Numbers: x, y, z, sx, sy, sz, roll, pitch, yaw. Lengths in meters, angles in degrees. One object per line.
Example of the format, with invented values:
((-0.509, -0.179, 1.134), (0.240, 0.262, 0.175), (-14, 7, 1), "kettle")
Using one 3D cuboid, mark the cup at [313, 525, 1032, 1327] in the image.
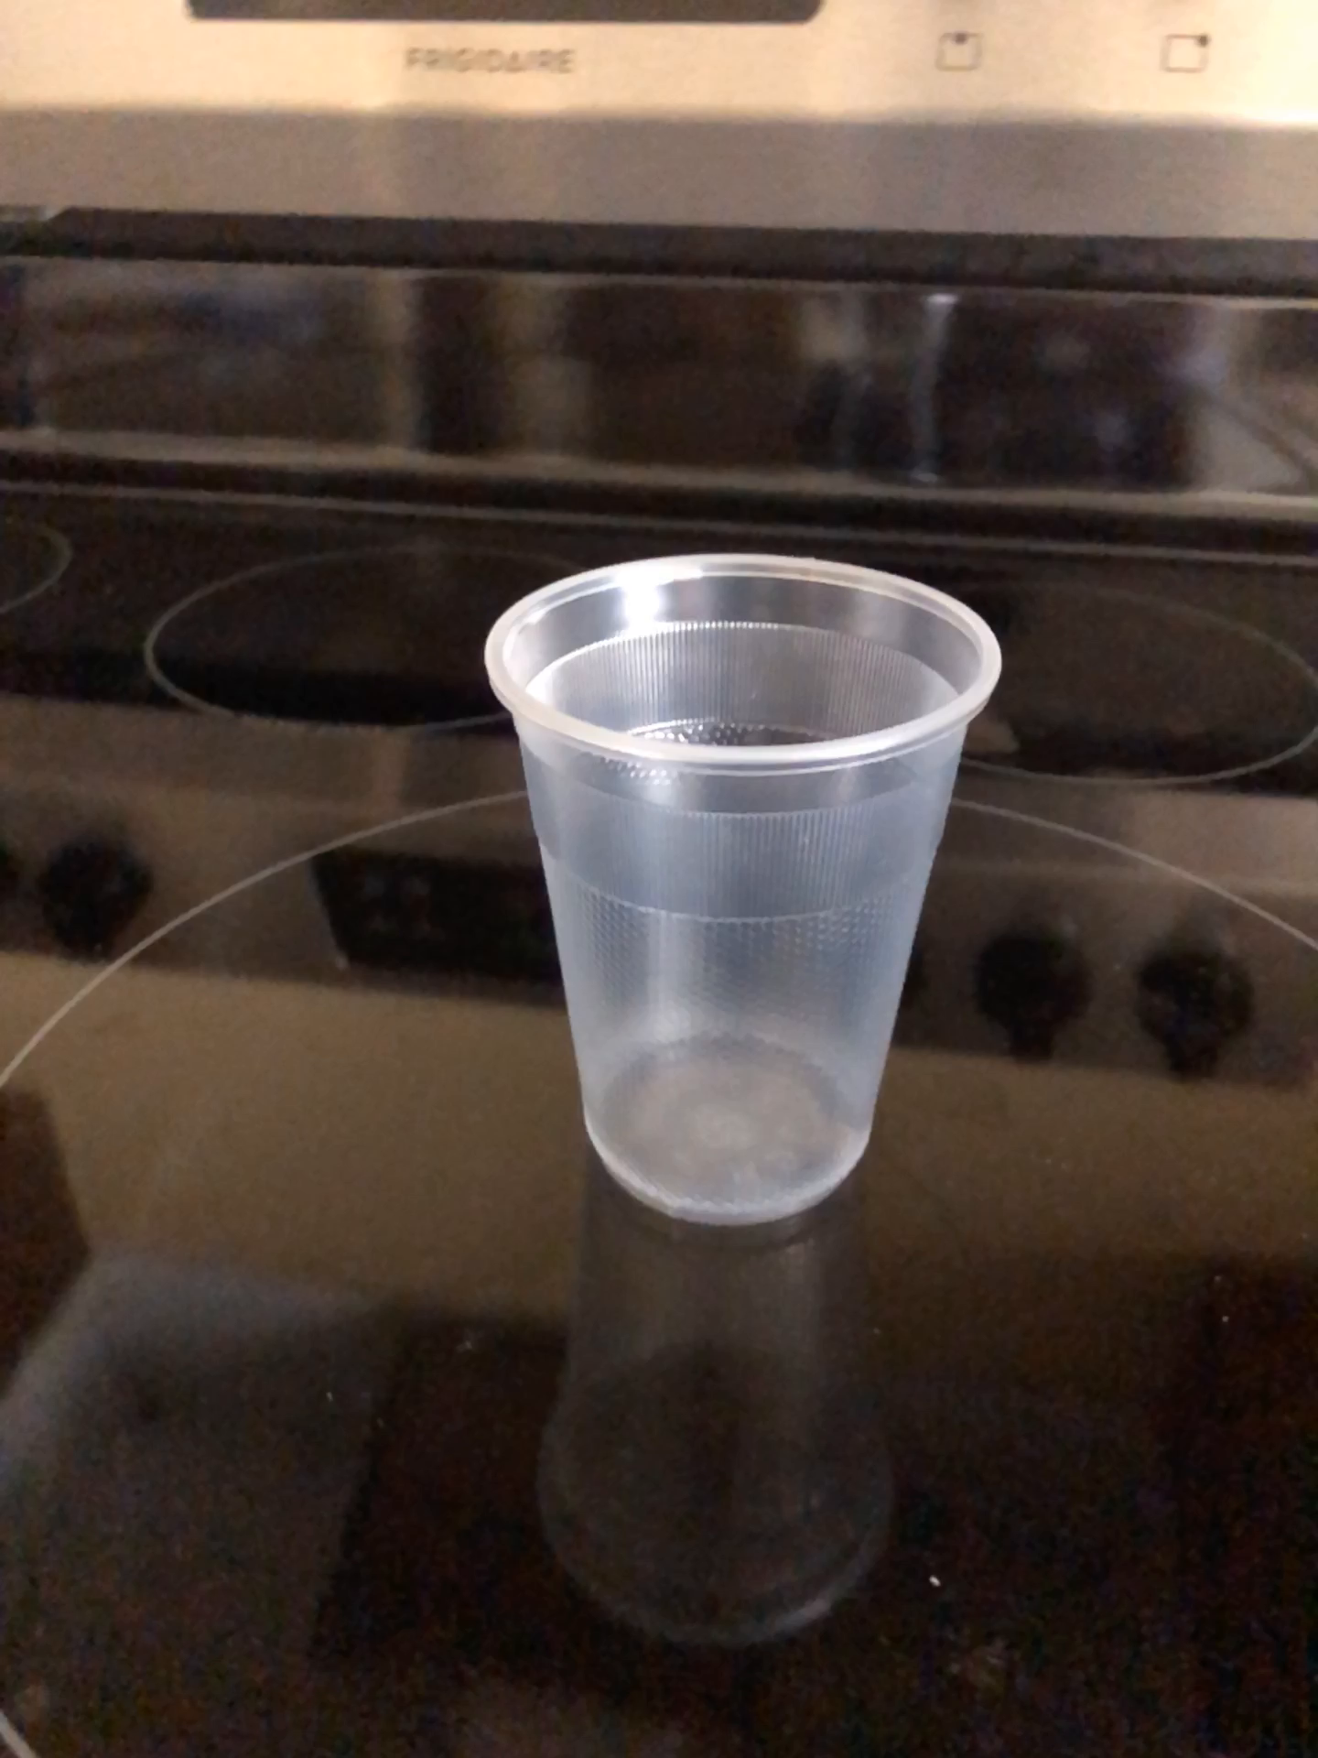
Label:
((0.008, 0.001, 0.224), (0.079, 0.081, 0.081), (0, 30, 0), "cup")
